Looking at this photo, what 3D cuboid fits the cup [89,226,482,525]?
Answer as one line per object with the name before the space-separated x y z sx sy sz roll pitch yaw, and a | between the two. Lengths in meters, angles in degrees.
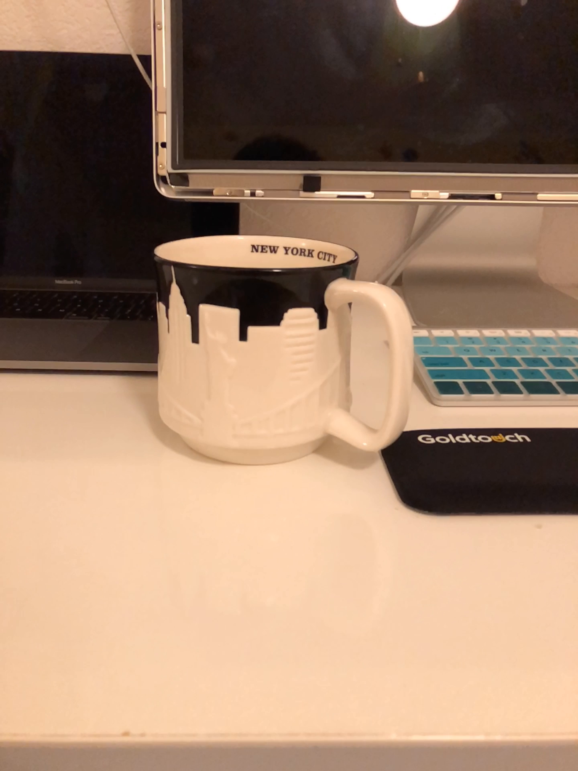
cup | -0.003 -0.021 0.318 0.150 0.090 0.110 17 26 34
